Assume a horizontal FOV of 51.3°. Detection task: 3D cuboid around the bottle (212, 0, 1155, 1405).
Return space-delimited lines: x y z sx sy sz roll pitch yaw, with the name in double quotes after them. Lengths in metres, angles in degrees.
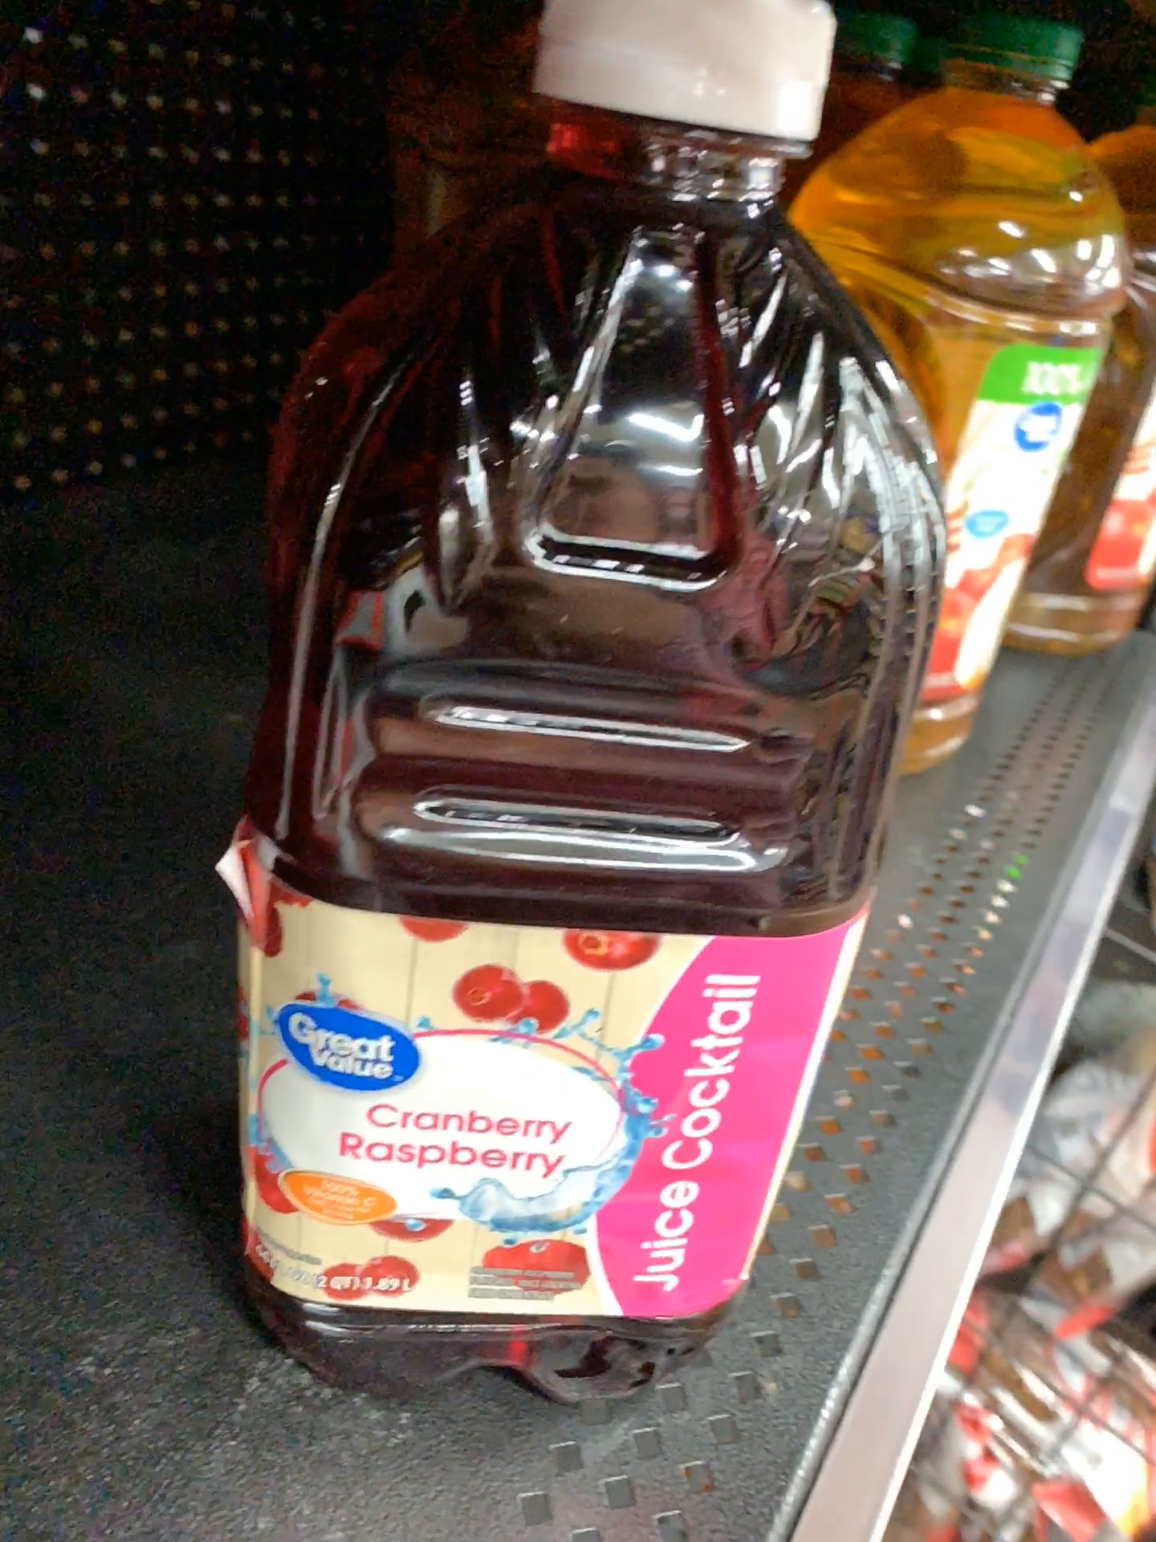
0.004 -0.001 0.234 0.125 0.259 0.100 6 32 -9 "bottle"
